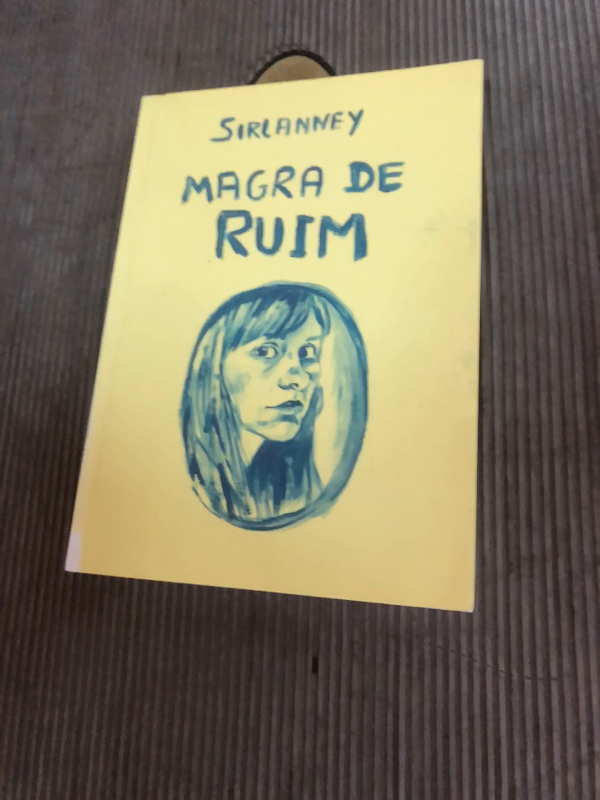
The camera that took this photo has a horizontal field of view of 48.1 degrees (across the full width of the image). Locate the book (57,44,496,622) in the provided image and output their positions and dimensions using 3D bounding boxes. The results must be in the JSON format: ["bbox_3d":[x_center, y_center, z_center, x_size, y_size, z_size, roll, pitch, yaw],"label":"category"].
[{"bbox_3d":[-0.005,-0.033,0.261,0.150,0.020,0.210,2,77,15],"label":"book"}]
